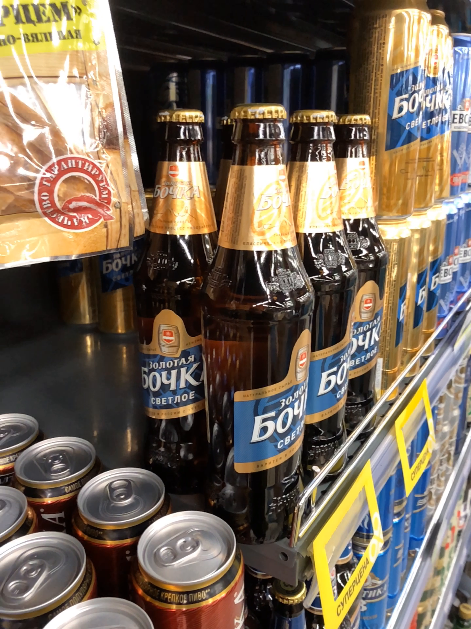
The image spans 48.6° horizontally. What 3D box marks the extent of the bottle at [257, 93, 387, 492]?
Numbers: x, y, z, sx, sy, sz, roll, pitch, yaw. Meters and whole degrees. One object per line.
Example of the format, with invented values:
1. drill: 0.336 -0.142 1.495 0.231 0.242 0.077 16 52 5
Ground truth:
1. bottle: 0.054 -0.013 0.336 0.060 0.234 0.070 6 19 18

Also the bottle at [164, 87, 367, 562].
1. bottle: 0.015 0.005 0.290 0.070 0.234 0.070 0 18 0
